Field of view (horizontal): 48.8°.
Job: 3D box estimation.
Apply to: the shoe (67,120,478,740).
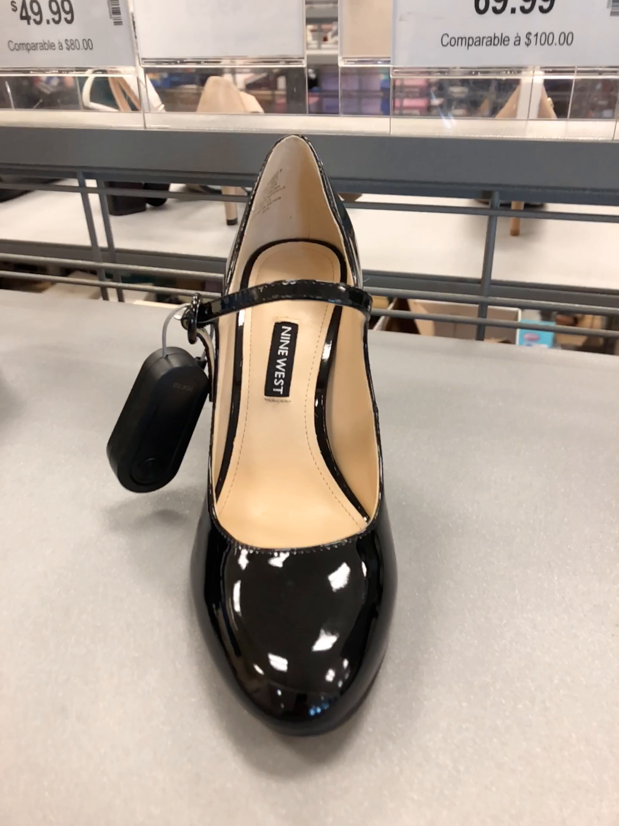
[{"bbox_3d":[-0.006,-0.024,0.298,0.090,0.151,0.258,-1,32,1],"label":"shoe"}]
